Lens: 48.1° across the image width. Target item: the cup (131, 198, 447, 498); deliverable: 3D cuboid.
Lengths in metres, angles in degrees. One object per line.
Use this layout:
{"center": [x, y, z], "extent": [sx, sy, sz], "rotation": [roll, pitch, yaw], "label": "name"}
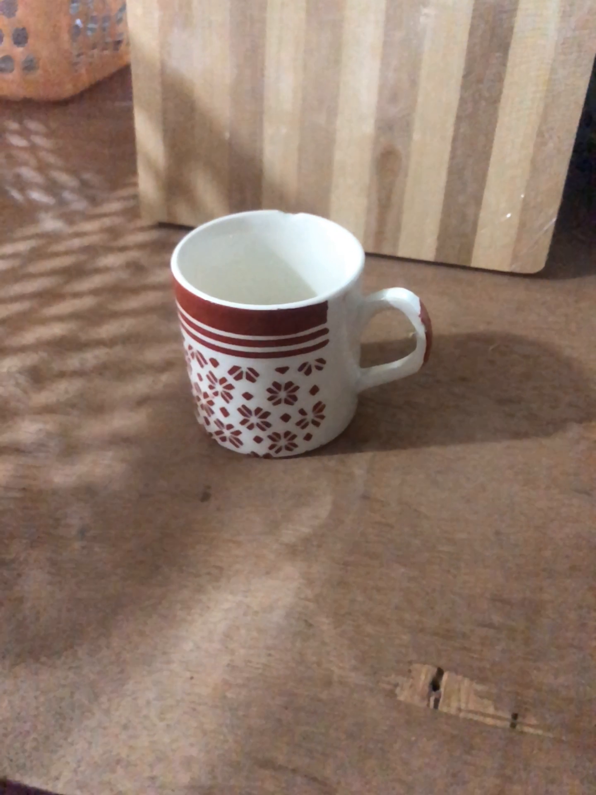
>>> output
{"center": [0.002, -0.018, 0.236], "extent": [0.090, 0.080, 0.060], "rotation": [4, 42, 8], "label": "cup"}
